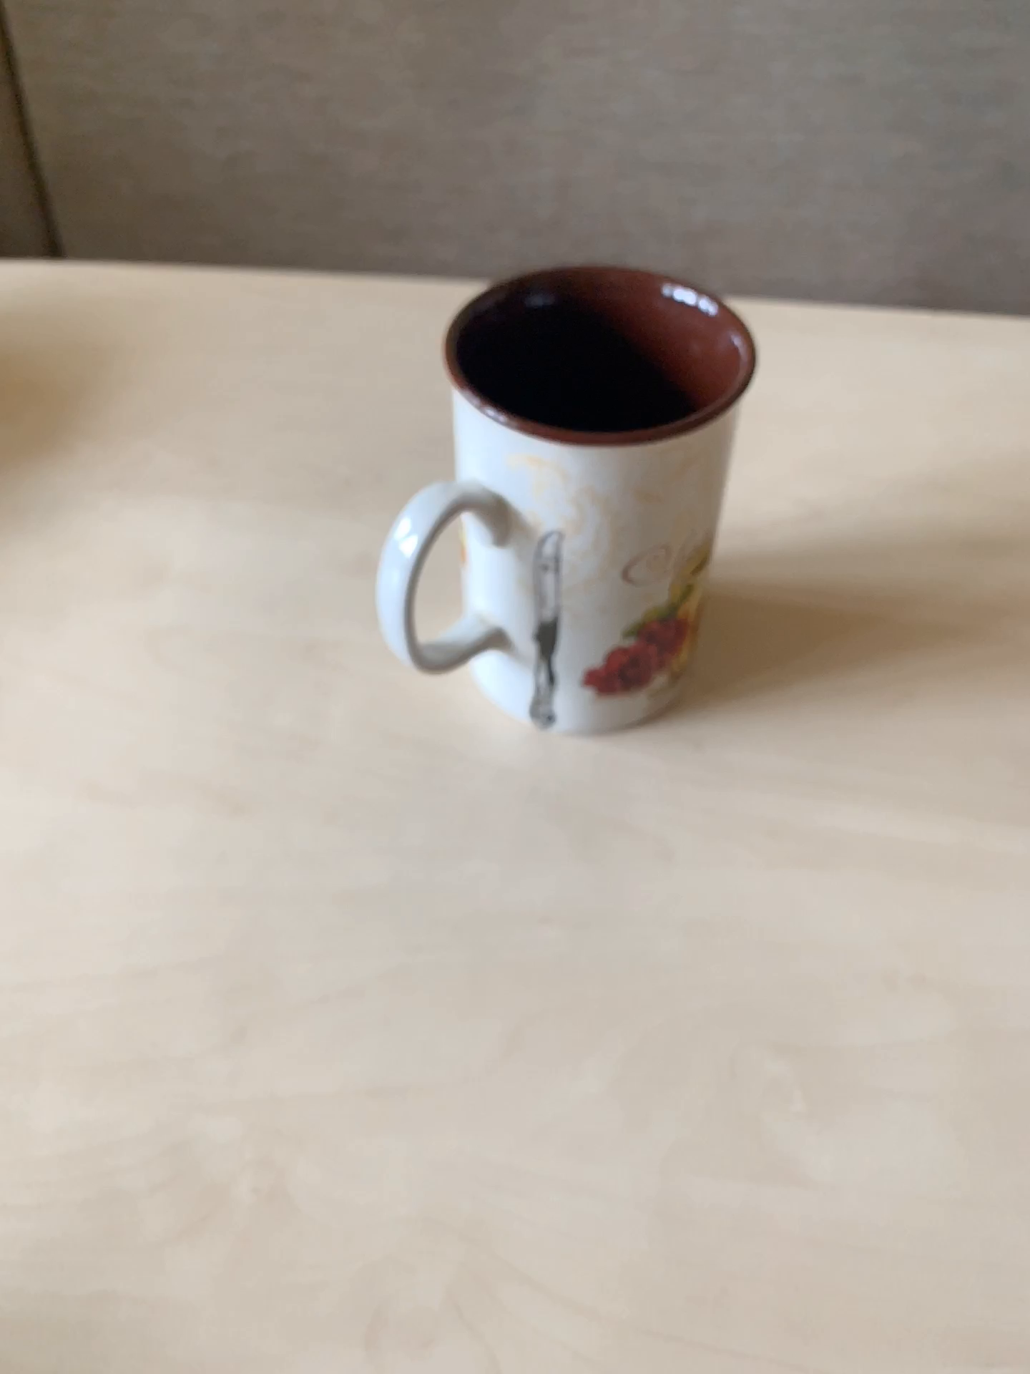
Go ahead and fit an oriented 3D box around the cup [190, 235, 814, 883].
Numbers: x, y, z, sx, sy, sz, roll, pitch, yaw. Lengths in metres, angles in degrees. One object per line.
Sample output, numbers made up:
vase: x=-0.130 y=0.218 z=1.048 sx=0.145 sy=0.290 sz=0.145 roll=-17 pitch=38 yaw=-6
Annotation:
cup: x=0.000 y=-0.040 z=0.312 sx=0.130 sy=0.110 sz=0.090 roll=-36 pitch=57 yaw=-28
